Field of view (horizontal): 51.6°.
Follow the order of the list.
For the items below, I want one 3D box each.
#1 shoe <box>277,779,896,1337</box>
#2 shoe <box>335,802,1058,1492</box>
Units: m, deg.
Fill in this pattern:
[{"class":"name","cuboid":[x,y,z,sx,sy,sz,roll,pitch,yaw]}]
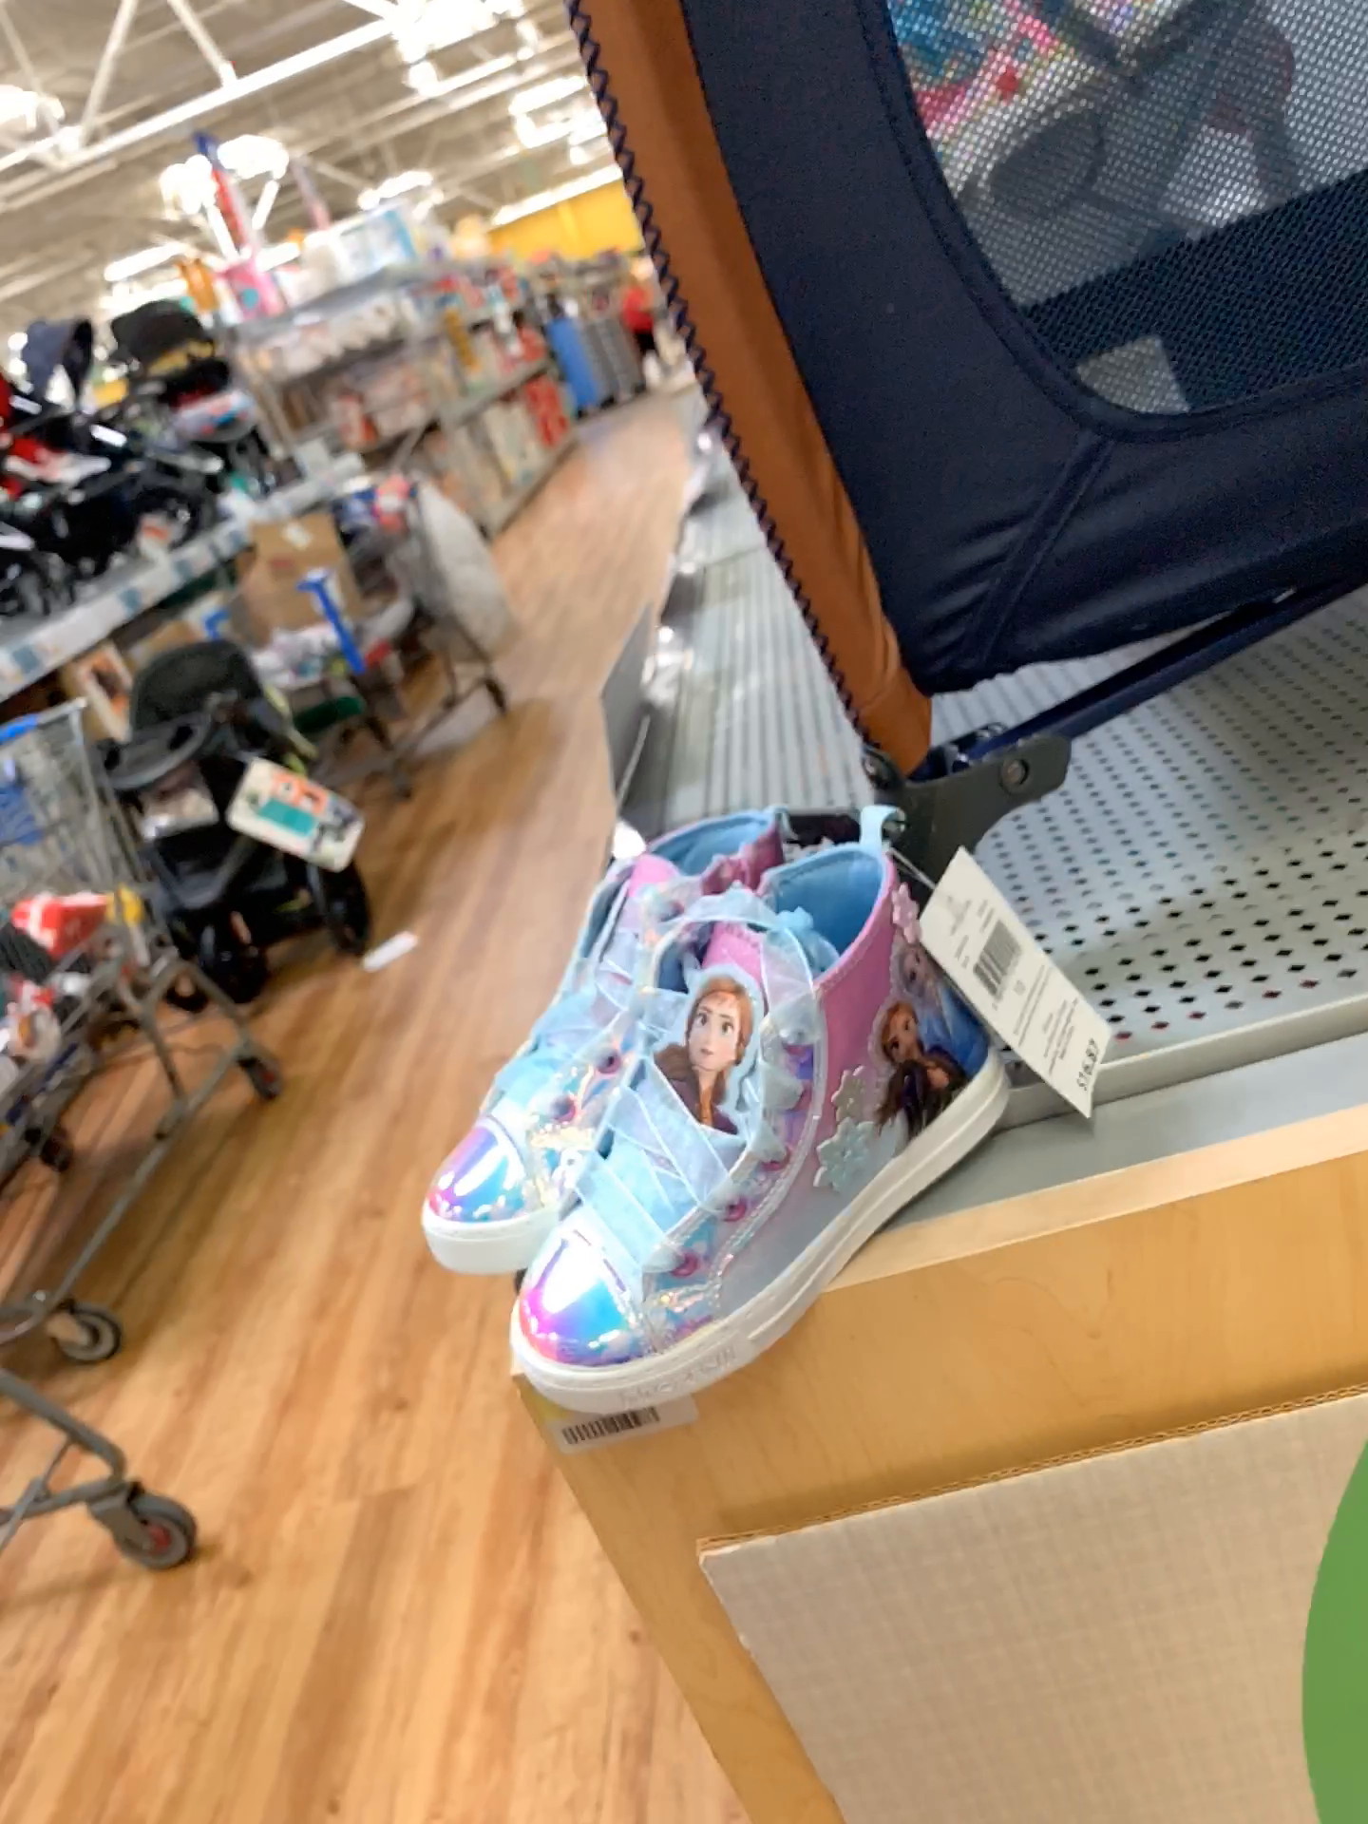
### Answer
[{"class":"shoe","cuboid":[-0.031,0.043,0.509,0.182,0.102,0.080,-31,24,-20]},{"class":"shoe","cuboid":[0.008,0.062,0.436,0.182,0.102,0.090,-31,30,-20]}]
